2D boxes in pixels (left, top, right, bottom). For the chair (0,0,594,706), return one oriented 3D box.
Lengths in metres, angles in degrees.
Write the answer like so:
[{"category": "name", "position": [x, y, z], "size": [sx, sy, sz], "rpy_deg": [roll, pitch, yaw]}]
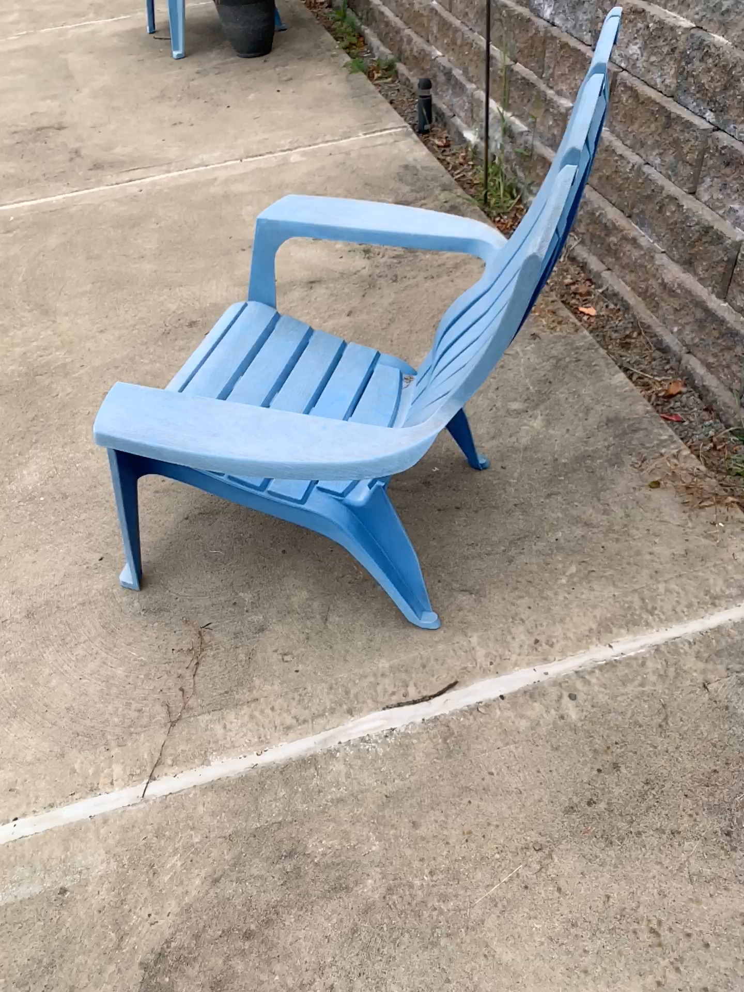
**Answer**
[{"category": "chair", "position": [-0.136, -0.287, 1.209], "size": [0.761, 0.885, 0.703], "rpy_deg": [10, 49, 17]}]
